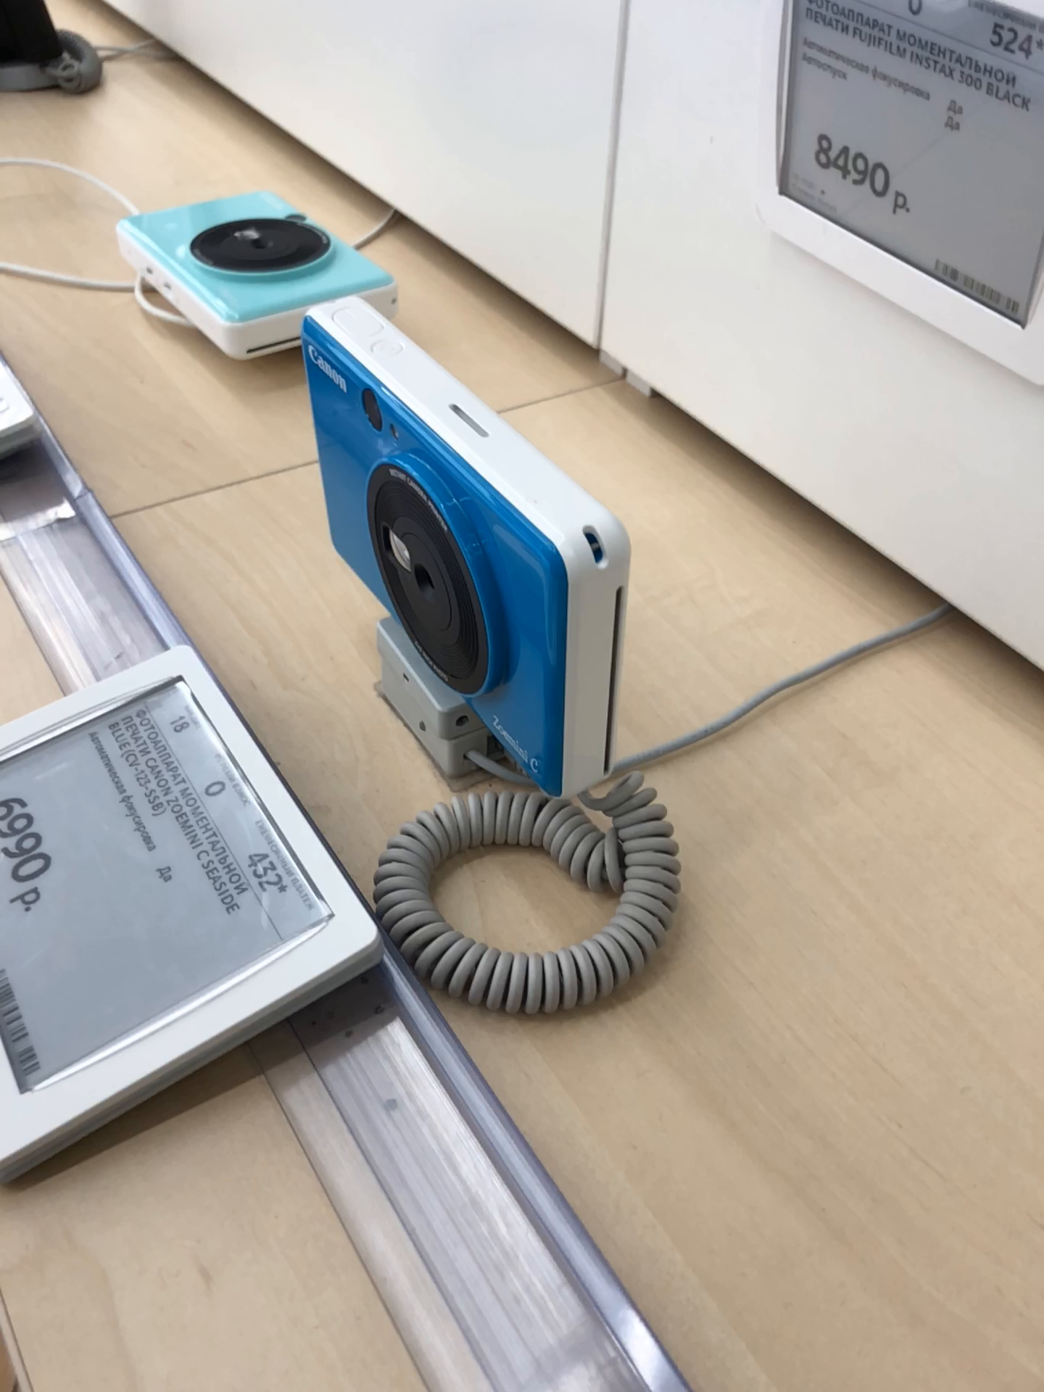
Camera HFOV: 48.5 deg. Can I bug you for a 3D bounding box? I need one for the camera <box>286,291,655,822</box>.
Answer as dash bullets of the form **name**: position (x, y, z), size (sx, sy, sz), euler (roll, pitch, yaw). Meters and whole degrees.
- **camera**: position (-0.015, -0.037, 0.278), size (0.025, 0.072, 0.120), euler (-24, 49, -20)
